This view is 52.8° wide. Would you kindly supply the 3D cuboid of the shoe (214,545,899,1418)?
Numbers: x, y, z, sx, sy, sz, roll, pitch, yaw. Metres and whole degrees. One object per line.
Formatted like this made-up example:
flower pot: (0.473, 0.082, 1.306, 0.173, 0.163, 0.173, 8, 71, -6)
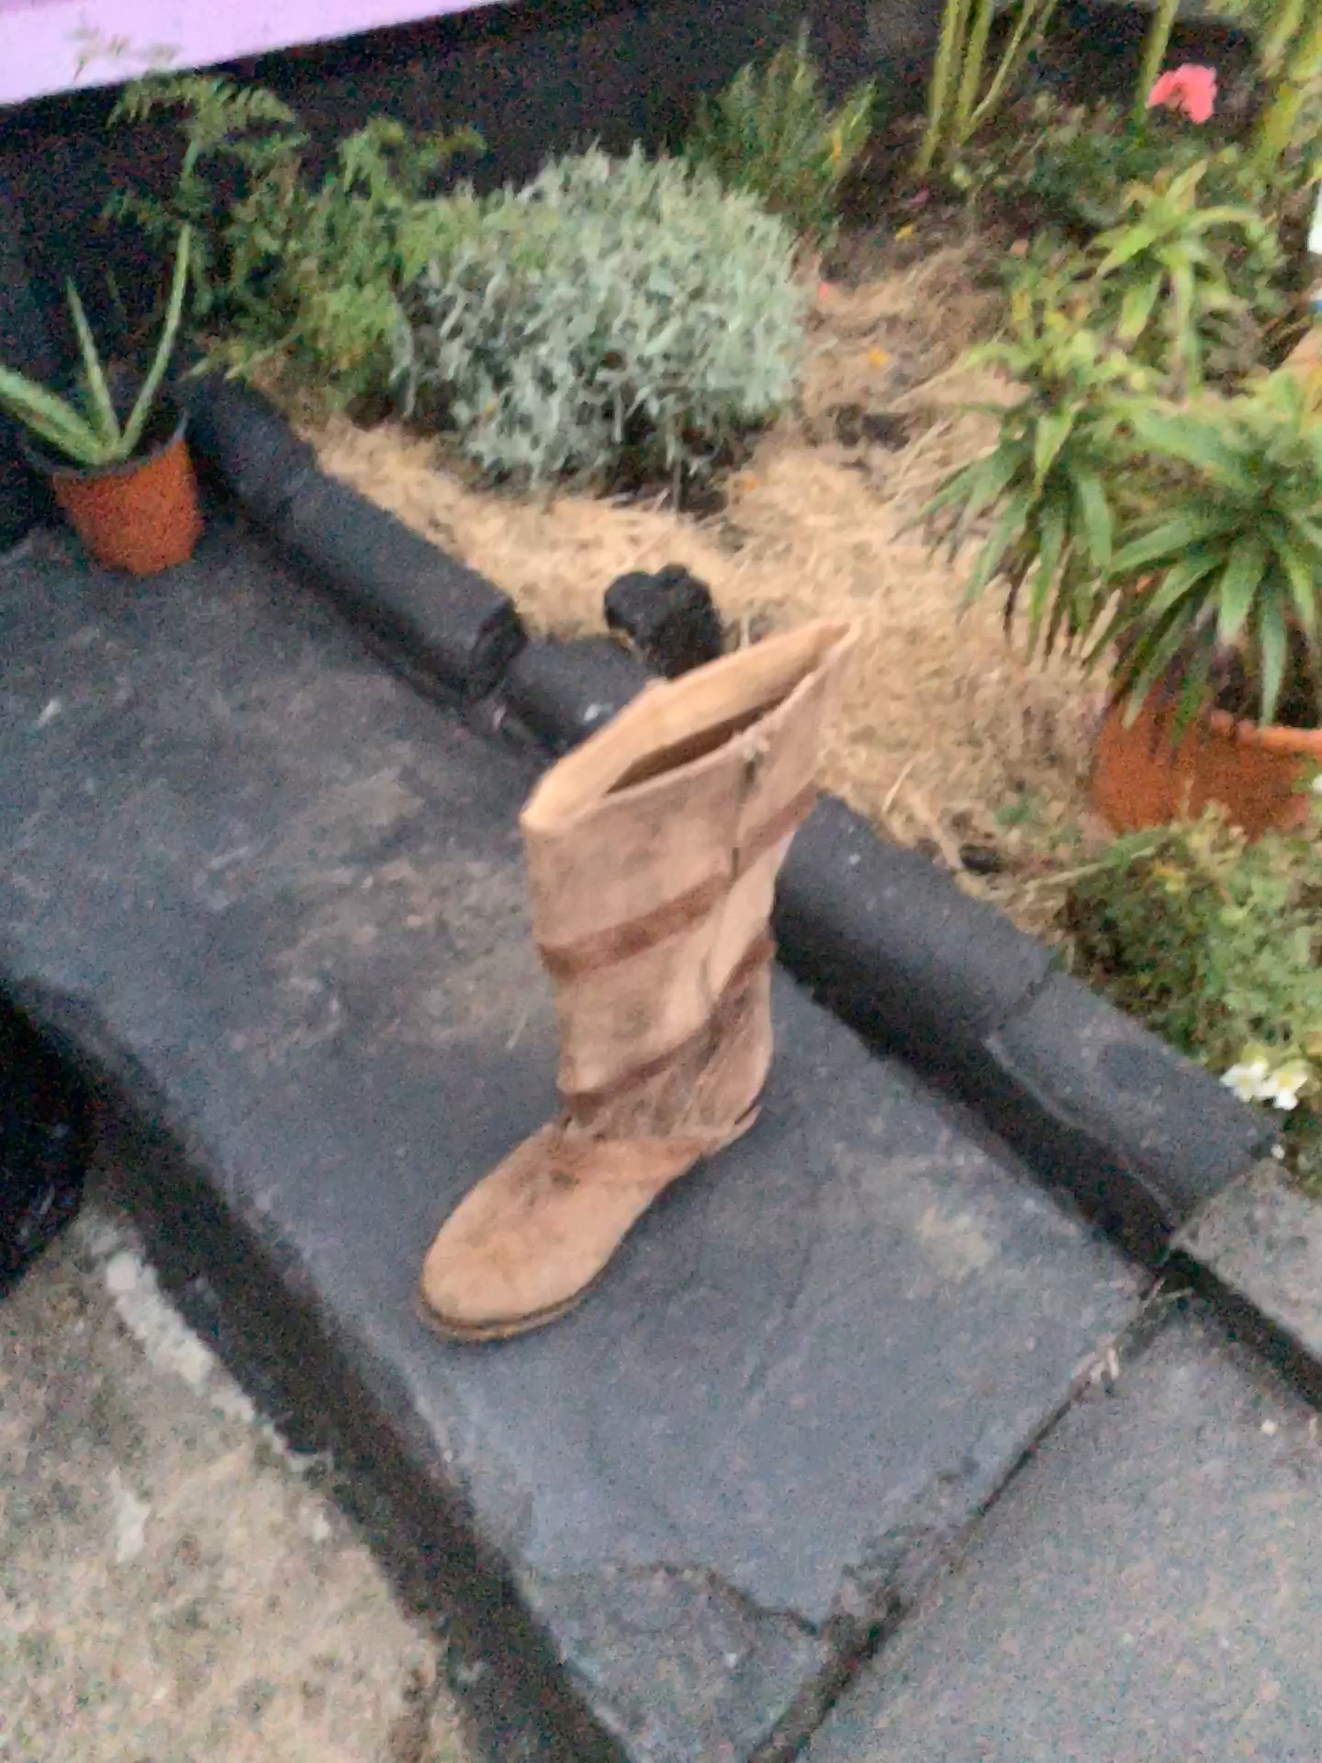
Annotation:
shoe: (-0.033, 0.067, 0.667, 0.271, 0.376, 0.101, -34, 56, -28)
